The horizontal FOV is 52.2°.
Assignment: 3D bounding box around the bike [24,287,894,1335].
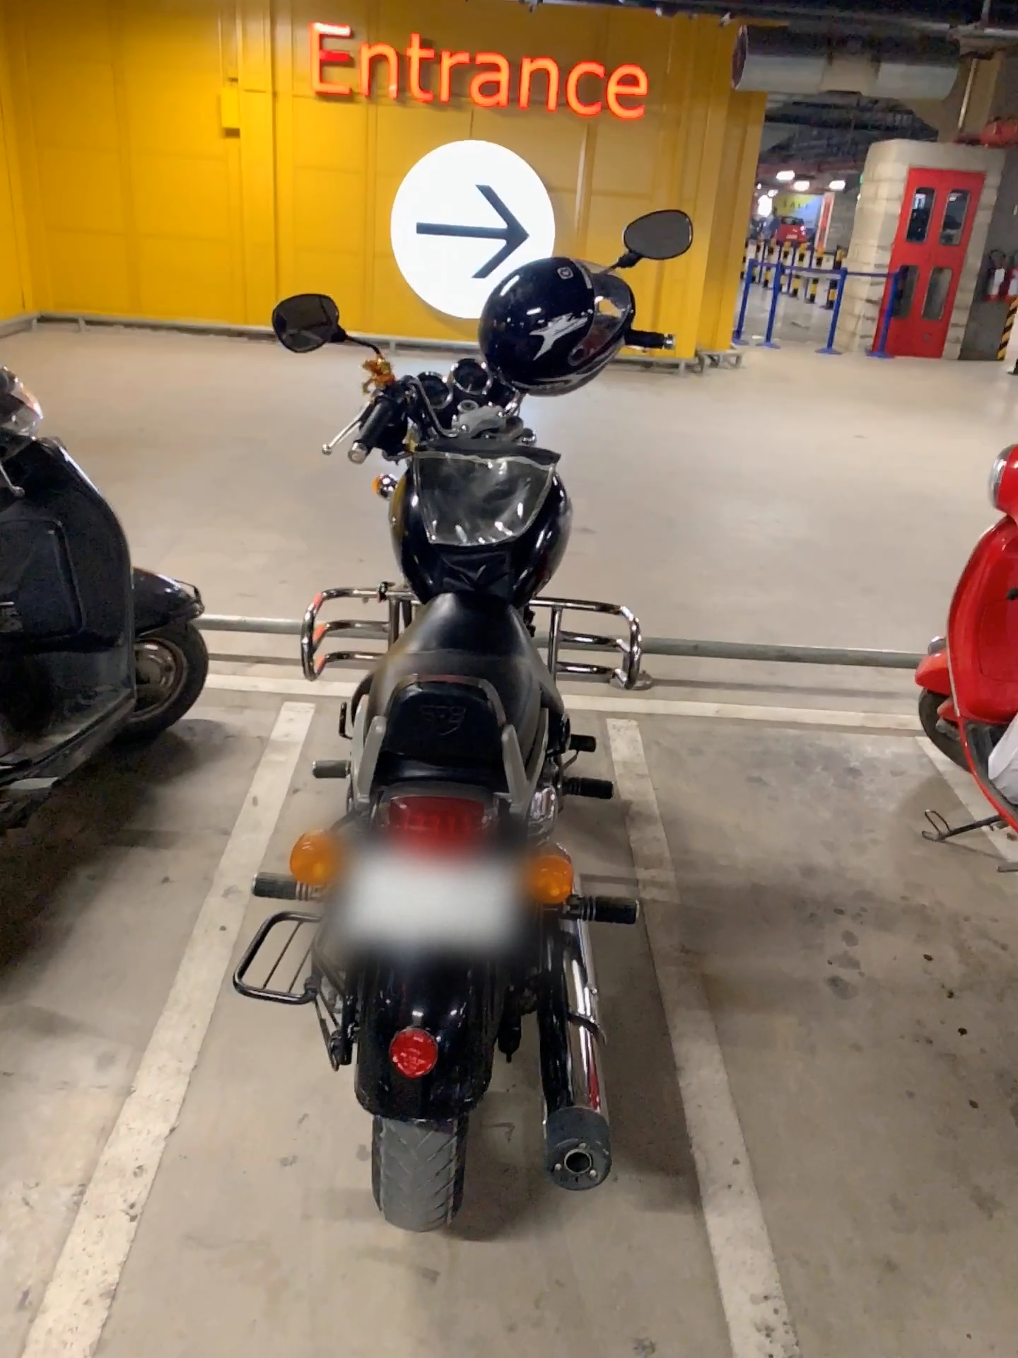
[{"bbox_3d":[-0.169,-0.068,2.186,0.828,1.229,2.087,2,24,-5],"label":"bike"}]
